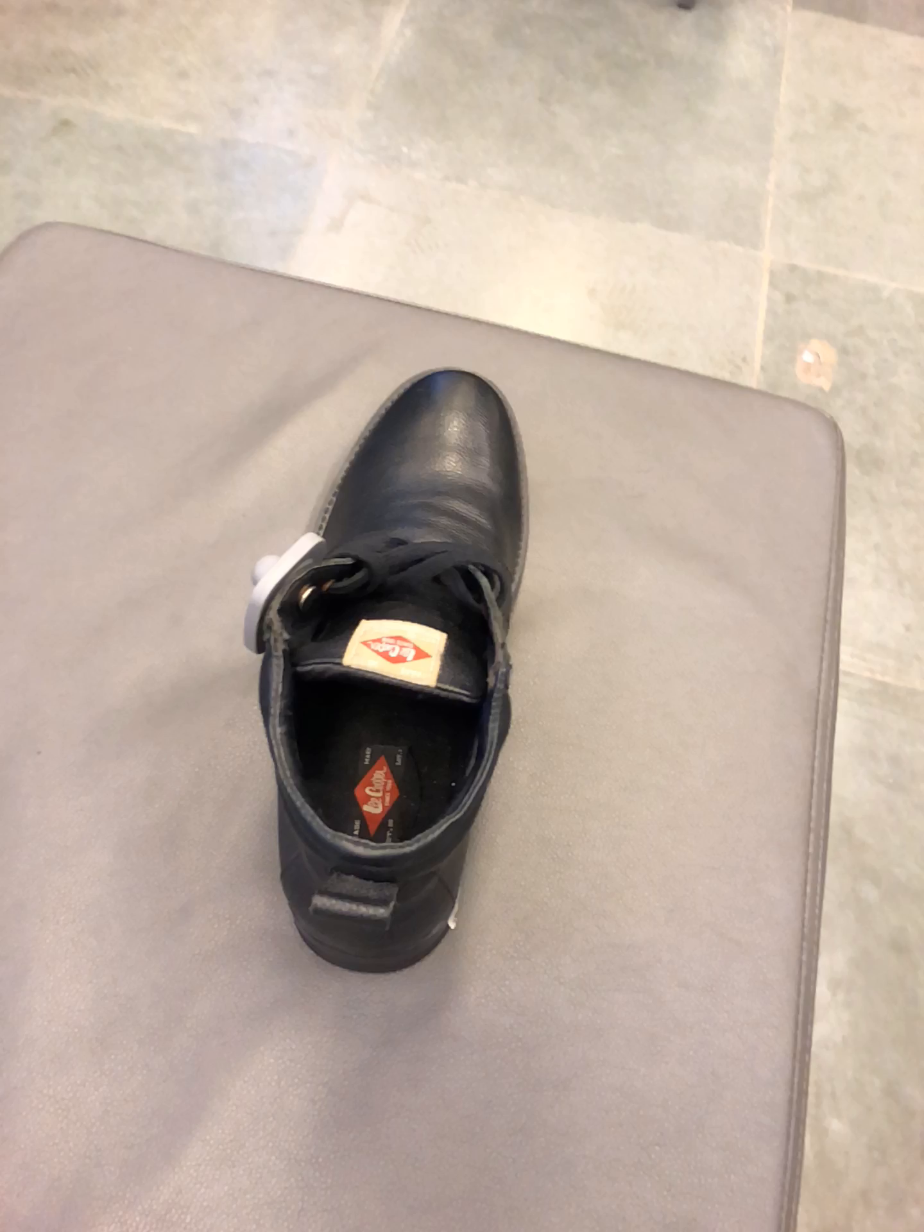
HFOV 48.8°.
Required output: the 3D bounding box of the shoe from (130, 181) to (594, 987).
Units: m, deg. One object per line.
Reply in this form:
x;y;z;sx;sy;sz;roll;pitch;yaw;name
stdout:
-0.025;-0.015;0.422;0.111;0.149;0.285;9;60;0;shoe
